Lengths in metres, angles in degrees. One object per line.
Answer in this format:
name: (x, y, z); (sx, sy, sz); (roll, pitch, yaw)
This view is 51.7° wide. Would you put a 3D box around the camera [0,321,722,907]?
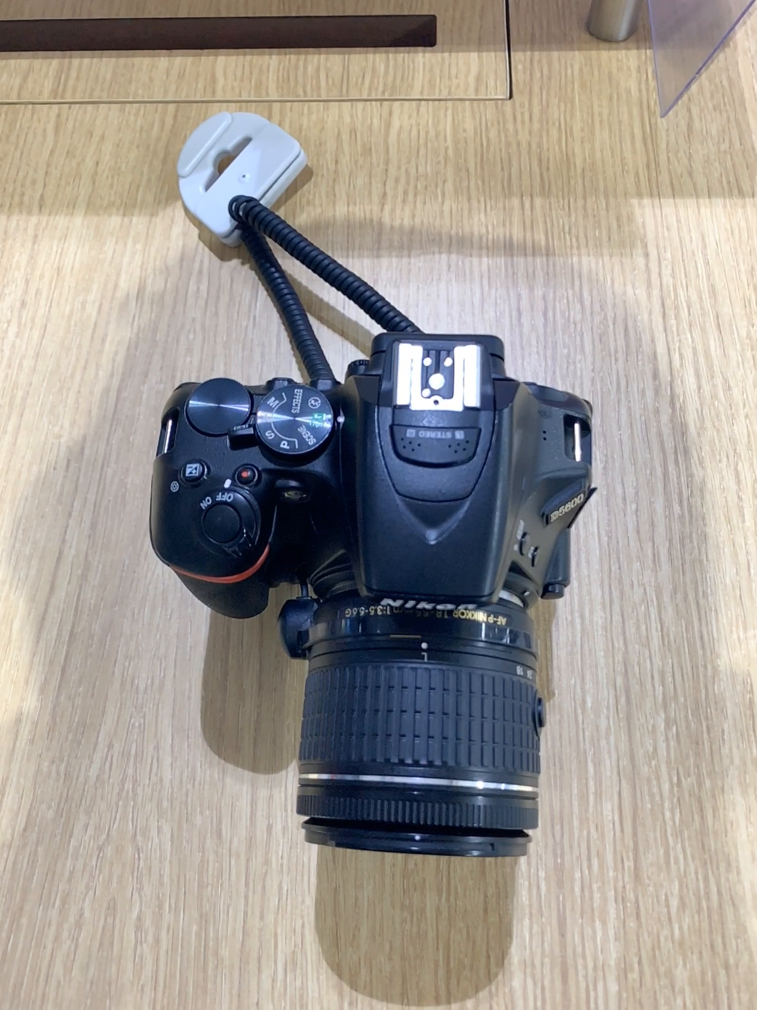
camera: (-0.001, 0.028, 0.192); (0.124, 0.080, 0.114); (2, 67, 2)
